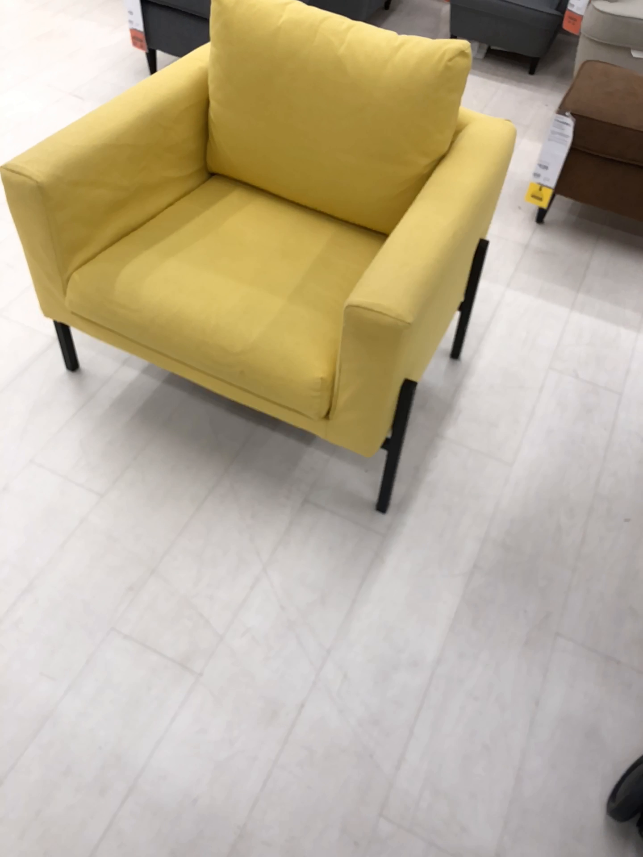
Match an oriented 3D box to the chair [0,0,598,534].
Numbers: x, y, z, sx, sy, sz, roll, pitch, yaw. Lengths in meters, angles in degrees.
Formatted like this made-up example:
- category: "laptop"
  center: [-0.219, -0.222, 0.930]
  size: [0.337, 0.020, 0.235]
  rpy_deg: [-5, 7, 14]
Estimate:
- category: "chair"
  center: [-0.092, -0.434, 1.560]
  size: [0.980, 0.758, 0.692]
  rpy_deg: [23, 52, 13]
